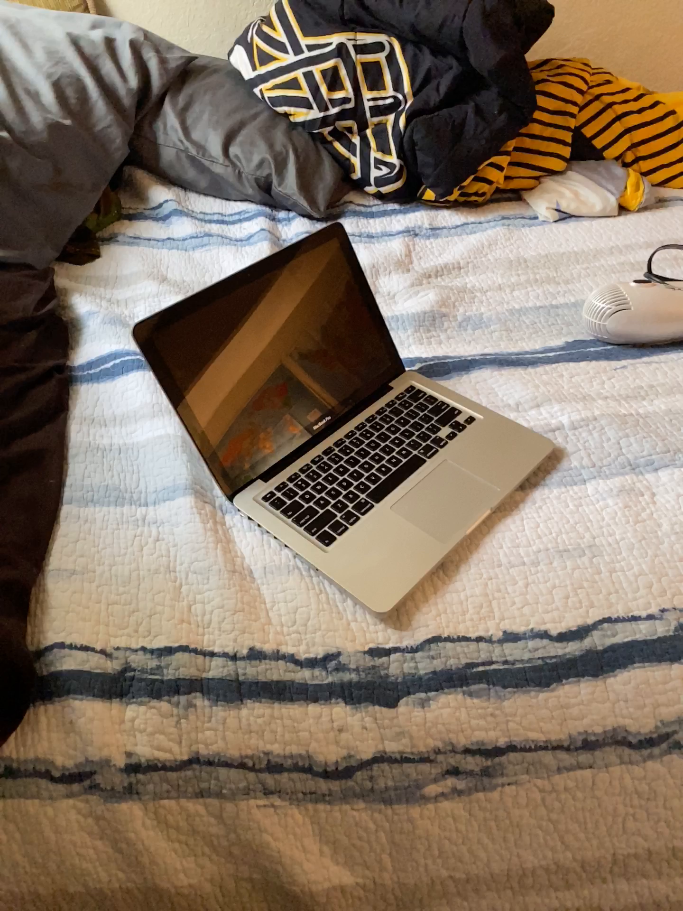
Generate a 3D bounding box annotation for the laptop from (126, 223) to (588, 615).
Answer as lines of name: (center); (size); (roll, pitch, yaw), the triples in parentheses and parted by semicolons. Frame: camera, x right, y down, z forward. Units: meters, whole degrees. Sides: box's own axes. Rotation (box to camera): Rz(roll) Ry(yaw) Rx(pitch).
laptop: (0.018, -0.071, 0.771); (0.346, 0.165, 0.321); (32, 53, 28)
